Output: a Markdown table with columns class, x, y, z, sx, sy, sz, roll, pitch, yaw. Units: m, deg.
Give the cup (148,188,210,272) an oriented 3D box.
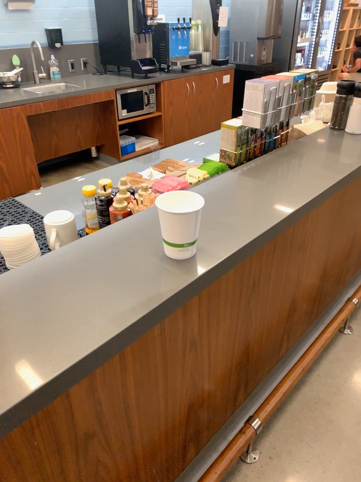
| class | x | y | z | sx | sy | sz | roll | pitch | yaw |
| --- | --- | --- | --- | --- | --- | --- | --- | --- | --- |
| cup | -0.004 | -0.023 | 0.681 | 0.090 | 0.109 | 0.101 | -7 | 33 | -11 |
